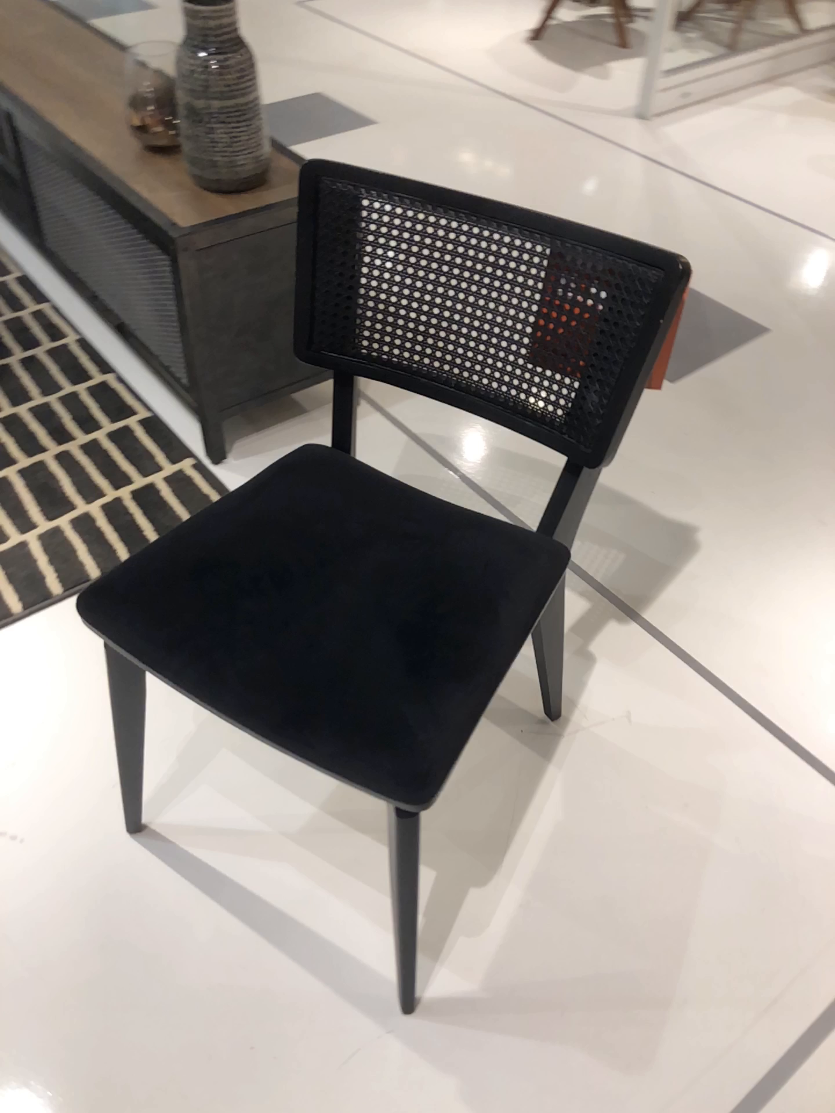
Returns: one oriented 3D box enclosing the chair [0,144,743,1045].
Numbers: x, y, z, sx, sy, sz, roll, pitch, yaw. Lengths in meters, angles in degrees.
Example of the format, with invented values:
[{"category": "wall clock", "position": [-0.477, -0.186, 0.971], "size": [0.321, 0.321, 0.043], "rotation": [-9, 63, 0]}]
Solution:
[{"category": "chair", "position": [-0.057, 0.041, 1.074], "size": [0.531, 0.744, 0.553], "rotation": [23, 48, 21]}]
